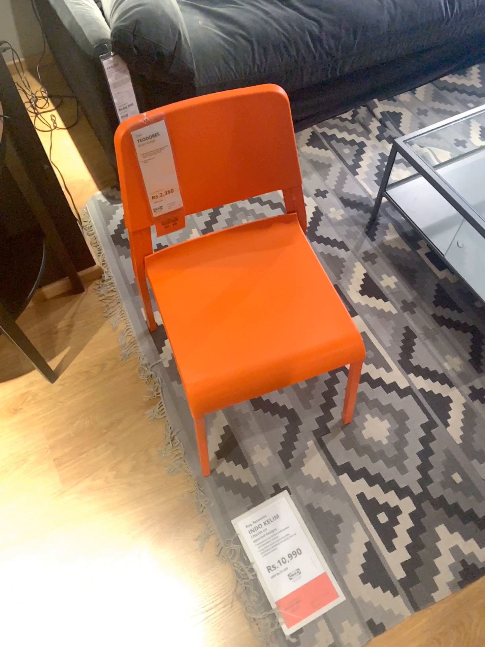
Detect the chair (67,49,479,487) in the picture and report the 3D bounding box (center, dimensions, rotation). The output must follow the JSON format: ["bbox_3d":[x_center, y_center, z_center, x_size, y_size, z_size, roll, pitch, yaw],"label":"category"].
[{"bbox_3d":[0.021,-0.065,1.132,0.510,0.739,0.541,-19,60,-10],"label":"chair"}]
